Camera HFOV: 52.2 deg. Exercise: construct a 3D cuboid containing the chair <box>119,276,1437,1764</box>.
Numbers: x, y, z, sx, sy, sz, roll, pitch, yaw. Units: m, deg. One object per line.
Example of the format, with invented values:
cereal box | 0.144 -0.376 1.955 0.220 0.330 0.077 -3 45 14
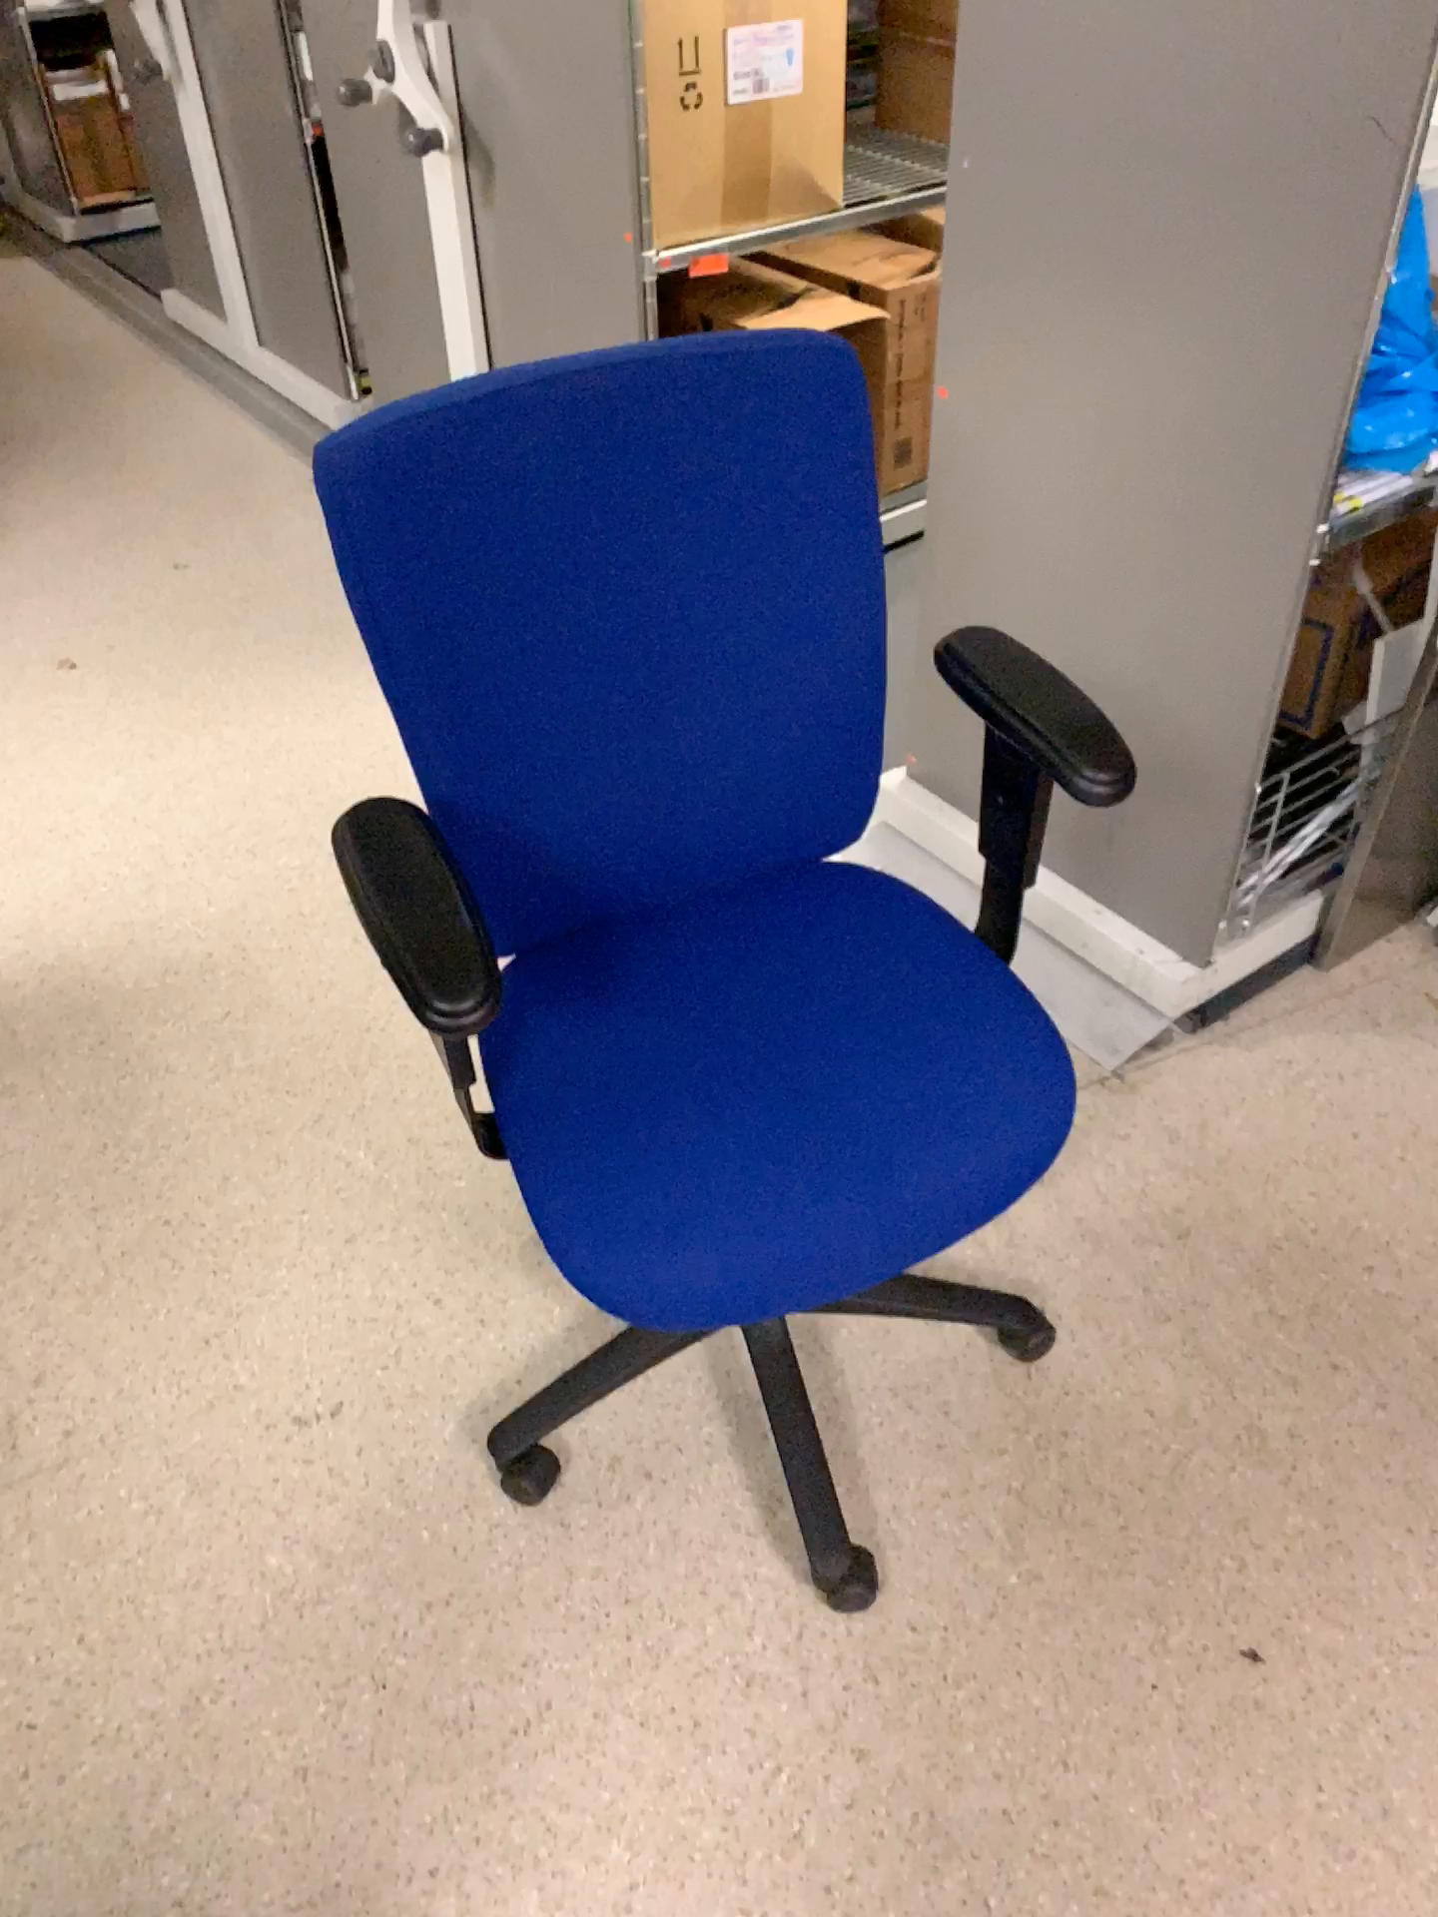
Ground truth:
chair | 0.006 0.016 1.350 0.672 0.931 0.766 -21 44 -21
